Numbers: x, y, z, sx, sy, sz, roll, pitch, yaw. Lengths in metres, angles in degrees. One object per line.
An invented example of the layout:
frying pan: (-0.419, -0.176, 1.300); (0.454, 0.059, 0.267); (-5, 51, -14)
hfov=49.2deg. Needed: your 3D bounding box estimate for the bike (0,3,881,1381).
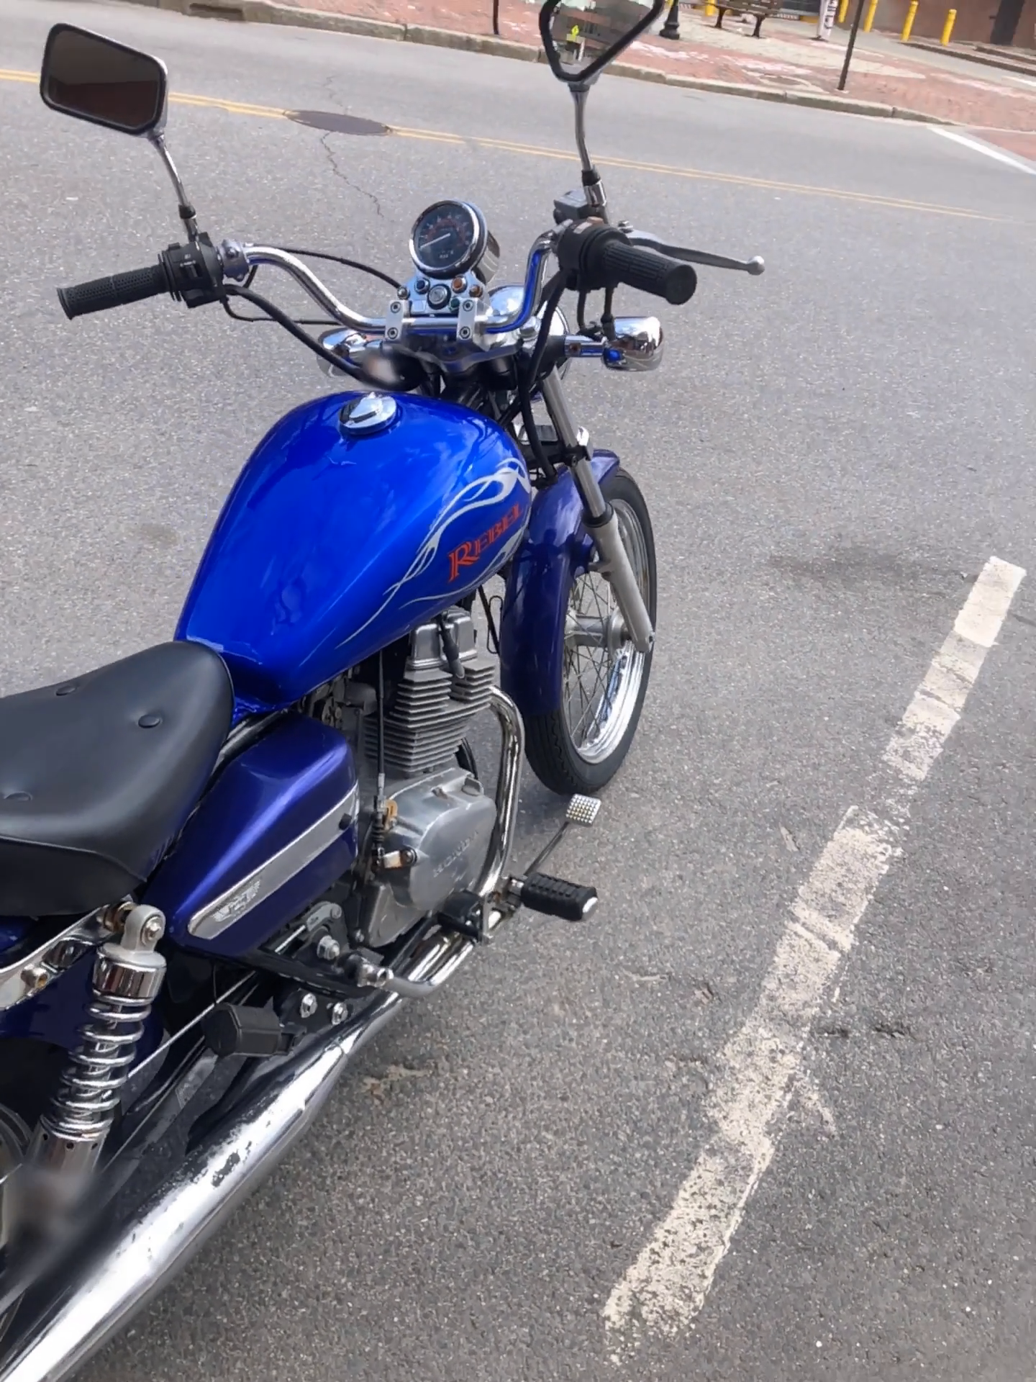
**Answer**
bike: (-0.320, -0.115, 1.373); (0.787, 1.036, 1.920); (22, 39, 19)
